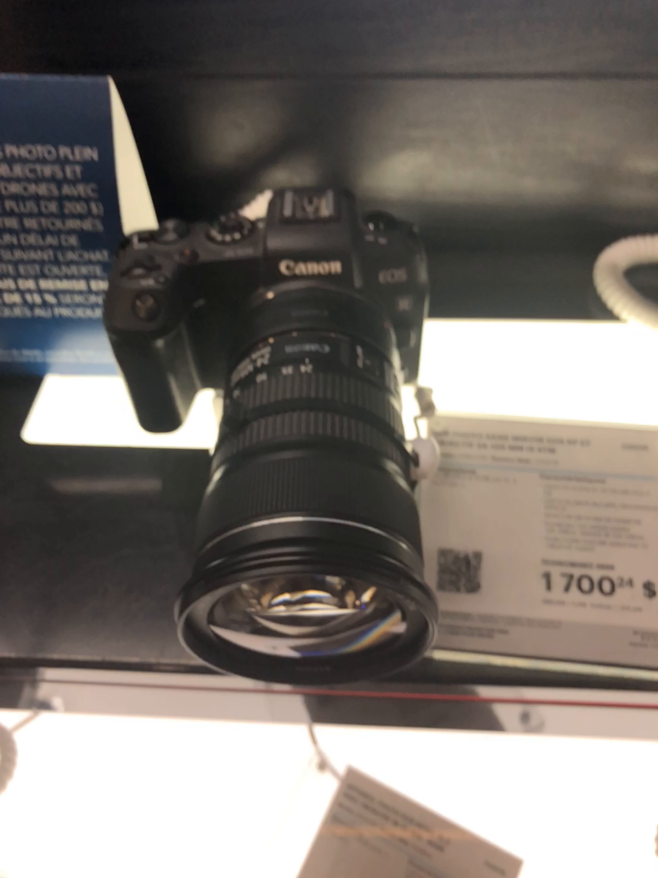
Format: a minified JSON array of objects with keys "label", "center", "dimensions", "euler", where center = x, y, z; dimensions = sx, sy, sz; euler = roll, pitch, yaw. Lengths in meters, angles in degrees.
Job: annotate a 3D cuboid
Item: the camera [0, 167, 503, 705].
[{"label":"camera","center":[-0.021,-0.010,0.275],"dimensions":[0.128,0.099,0.178],"euler":[-1,46,2]}]
